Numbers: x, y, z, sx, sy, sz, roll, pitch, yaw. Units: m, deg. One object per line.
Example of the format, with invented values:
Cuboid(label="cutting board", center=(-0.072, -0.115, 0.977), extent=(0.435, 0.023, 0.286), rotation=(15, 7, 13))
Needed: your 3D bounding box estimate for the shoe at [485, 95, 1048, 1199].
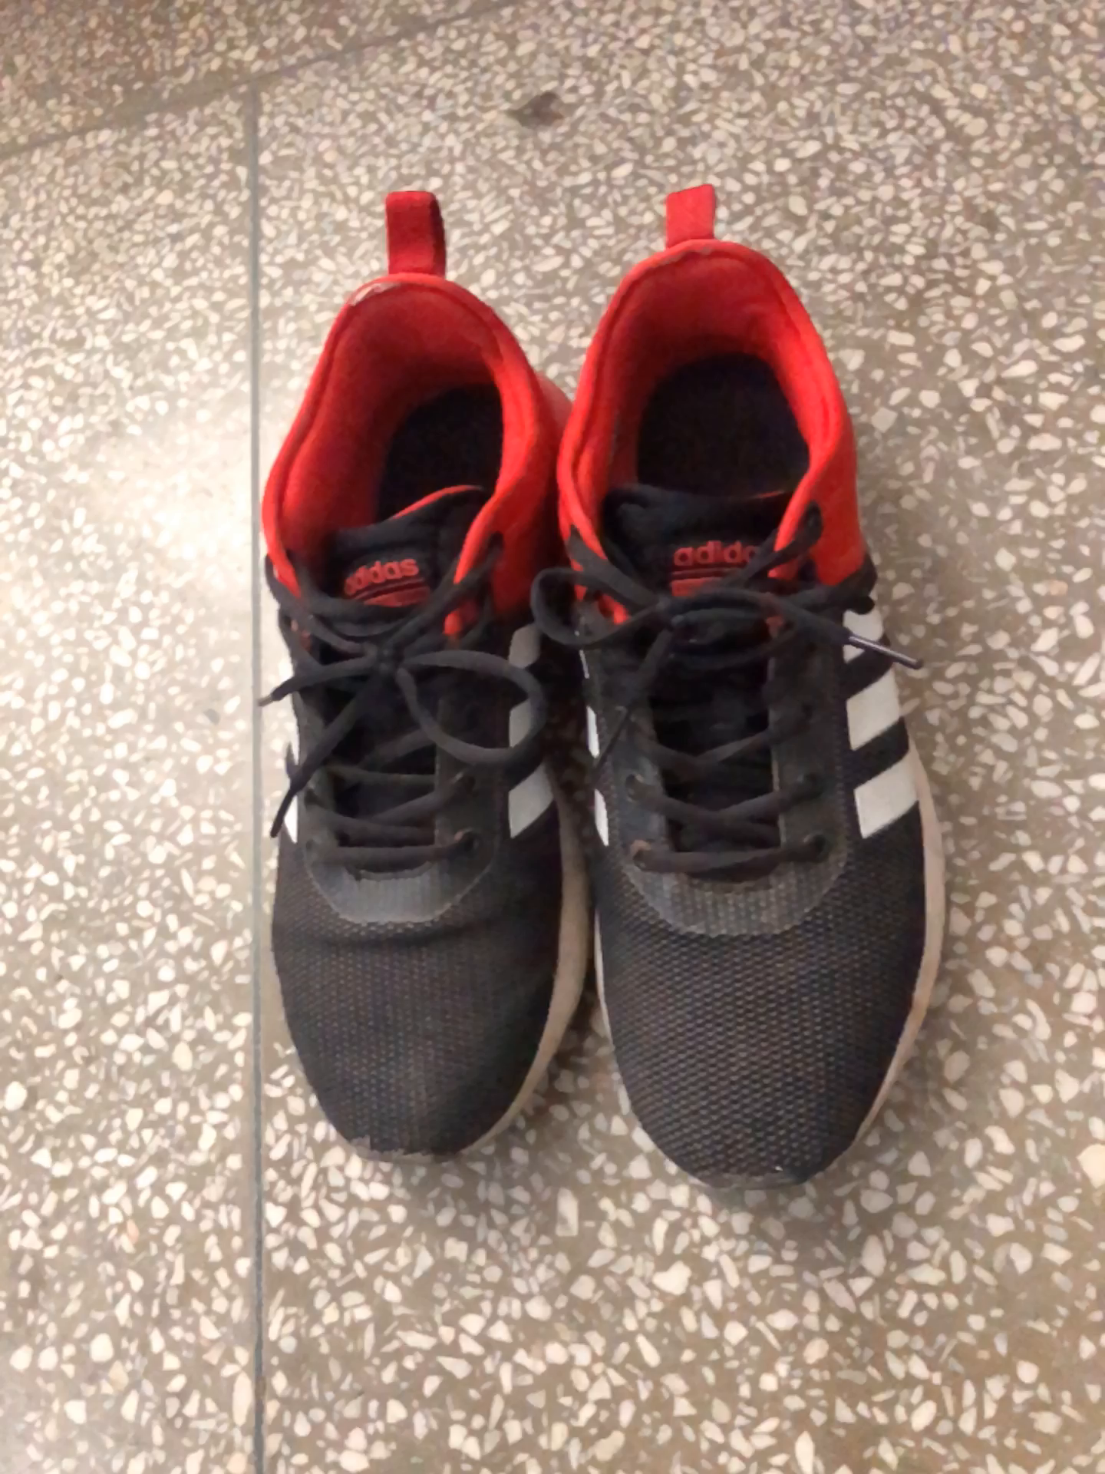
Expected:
Cuboid(label="shoe", center=(0.069, -0.021, 0.406), extent=(0.130, 0.140, 0.320), rotation=(-3, 69, 14))

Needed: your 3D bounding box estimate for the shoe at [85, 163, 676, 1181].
Cuboid(label="shoe", center=(-0.036, -0.015, 0.428), extent=(0.130, 0.140, 0.310), rotation=(-2, 70, 15))
